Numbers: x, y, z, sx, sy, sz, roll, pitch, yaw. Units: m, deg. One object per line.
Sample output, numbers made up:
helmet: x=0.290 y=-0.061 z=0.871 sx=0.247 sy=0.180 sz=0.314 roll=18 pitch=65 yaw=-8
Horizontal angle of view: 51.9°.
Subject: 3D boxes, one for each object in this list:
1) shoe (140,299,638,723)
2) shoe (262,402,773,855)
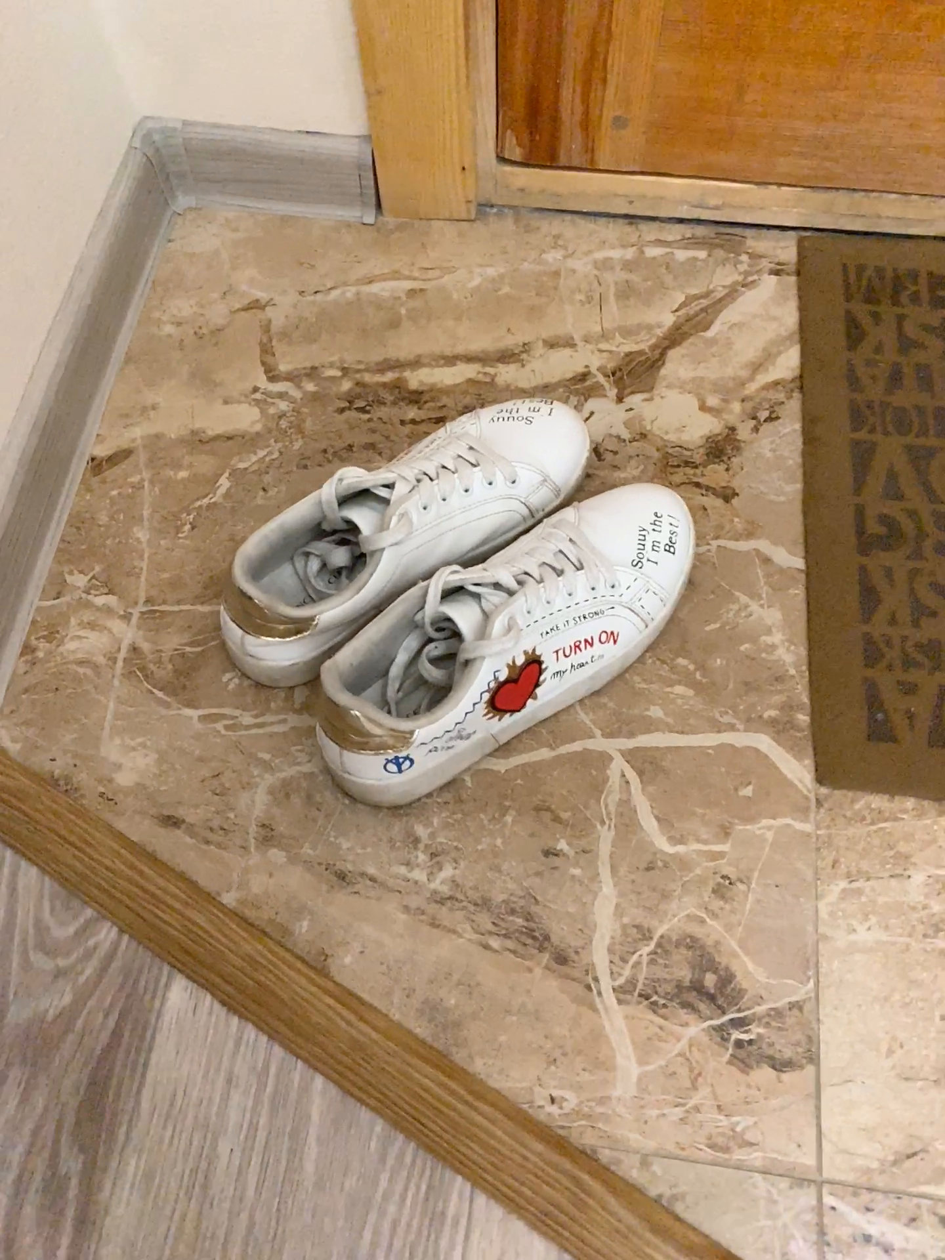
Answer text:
shoe: x=-0.039 y=-0.070 z=0.547 sx=0.256 sy=0.080 sz=0.092 roll=-35 pitch=68 yaw=-14
shoe: x=0.028 y=-0.004 z=0.523 sx=0.256 sy=0.080 sz=0.092 roll=-36 pitch=68 yaw=-15
